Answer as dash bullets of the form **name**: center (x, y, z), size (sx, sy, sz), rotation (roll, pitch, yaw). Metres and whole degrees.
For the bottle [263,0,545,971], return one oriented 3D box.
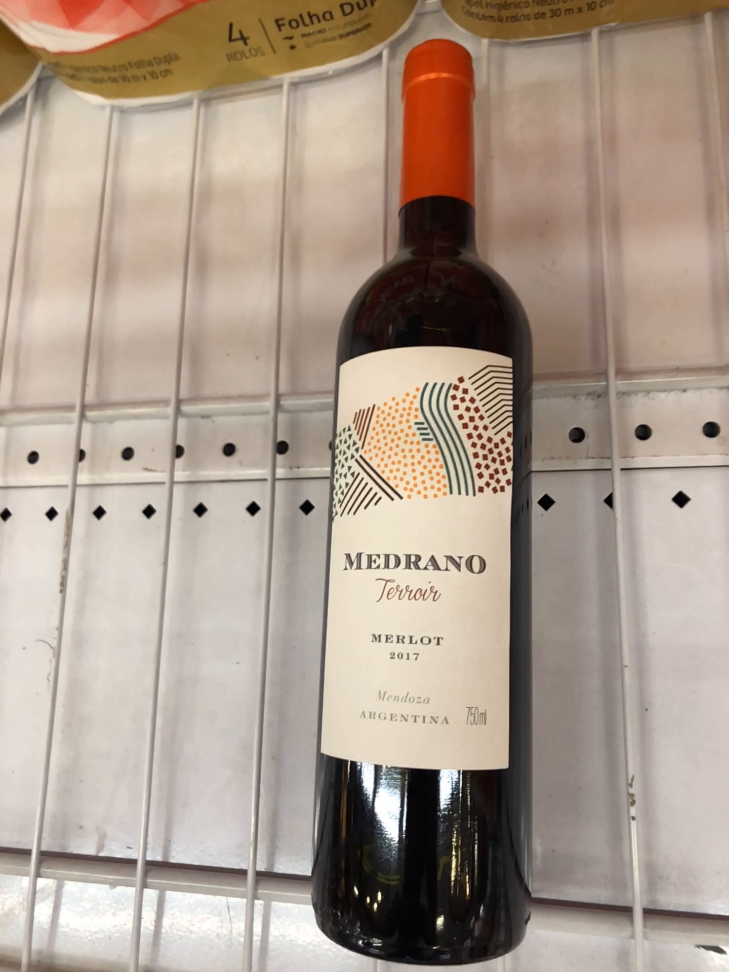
- **bottle**: center (0.024, -0.016, 0.302), size (0.080, 0.070, 0.330), rotation (-1, 77, 15)
